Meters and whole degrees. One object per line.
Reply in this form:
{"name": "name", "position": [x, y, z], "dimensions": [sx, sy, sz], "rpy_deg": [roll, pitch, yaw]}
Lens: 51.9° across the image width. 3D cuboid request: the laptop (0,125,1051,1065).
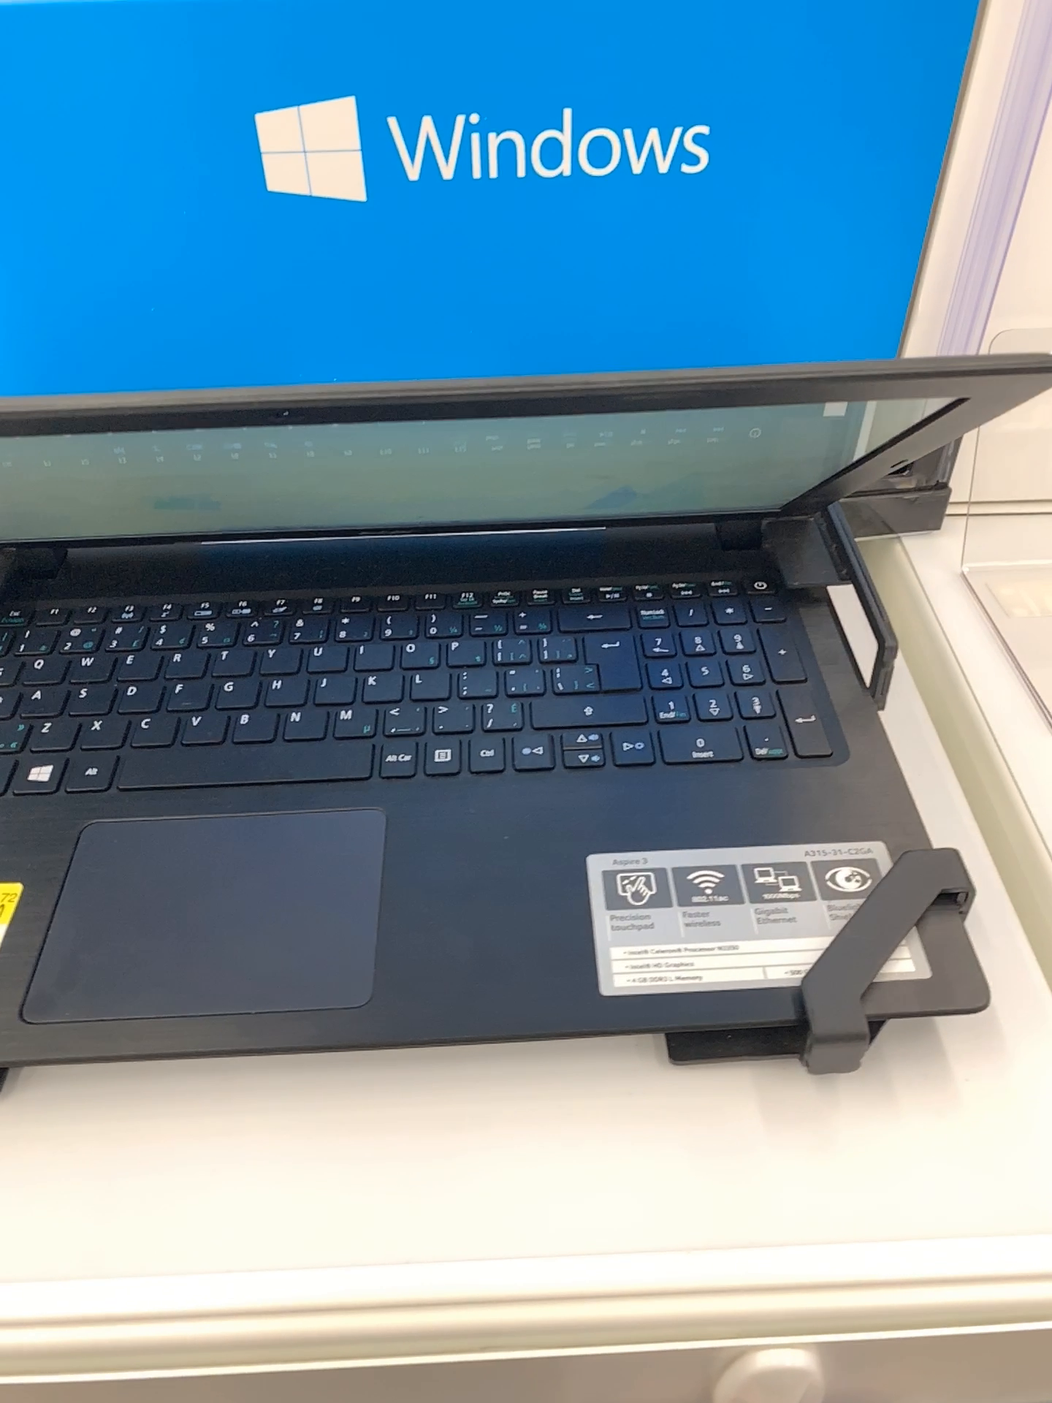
{"name": "laptop", "position": [-0.052, -0.046, 0.320], "dimensions": [0.344, 0.157, 0.234], "rpy_deg": [-2, 43, 0]}
